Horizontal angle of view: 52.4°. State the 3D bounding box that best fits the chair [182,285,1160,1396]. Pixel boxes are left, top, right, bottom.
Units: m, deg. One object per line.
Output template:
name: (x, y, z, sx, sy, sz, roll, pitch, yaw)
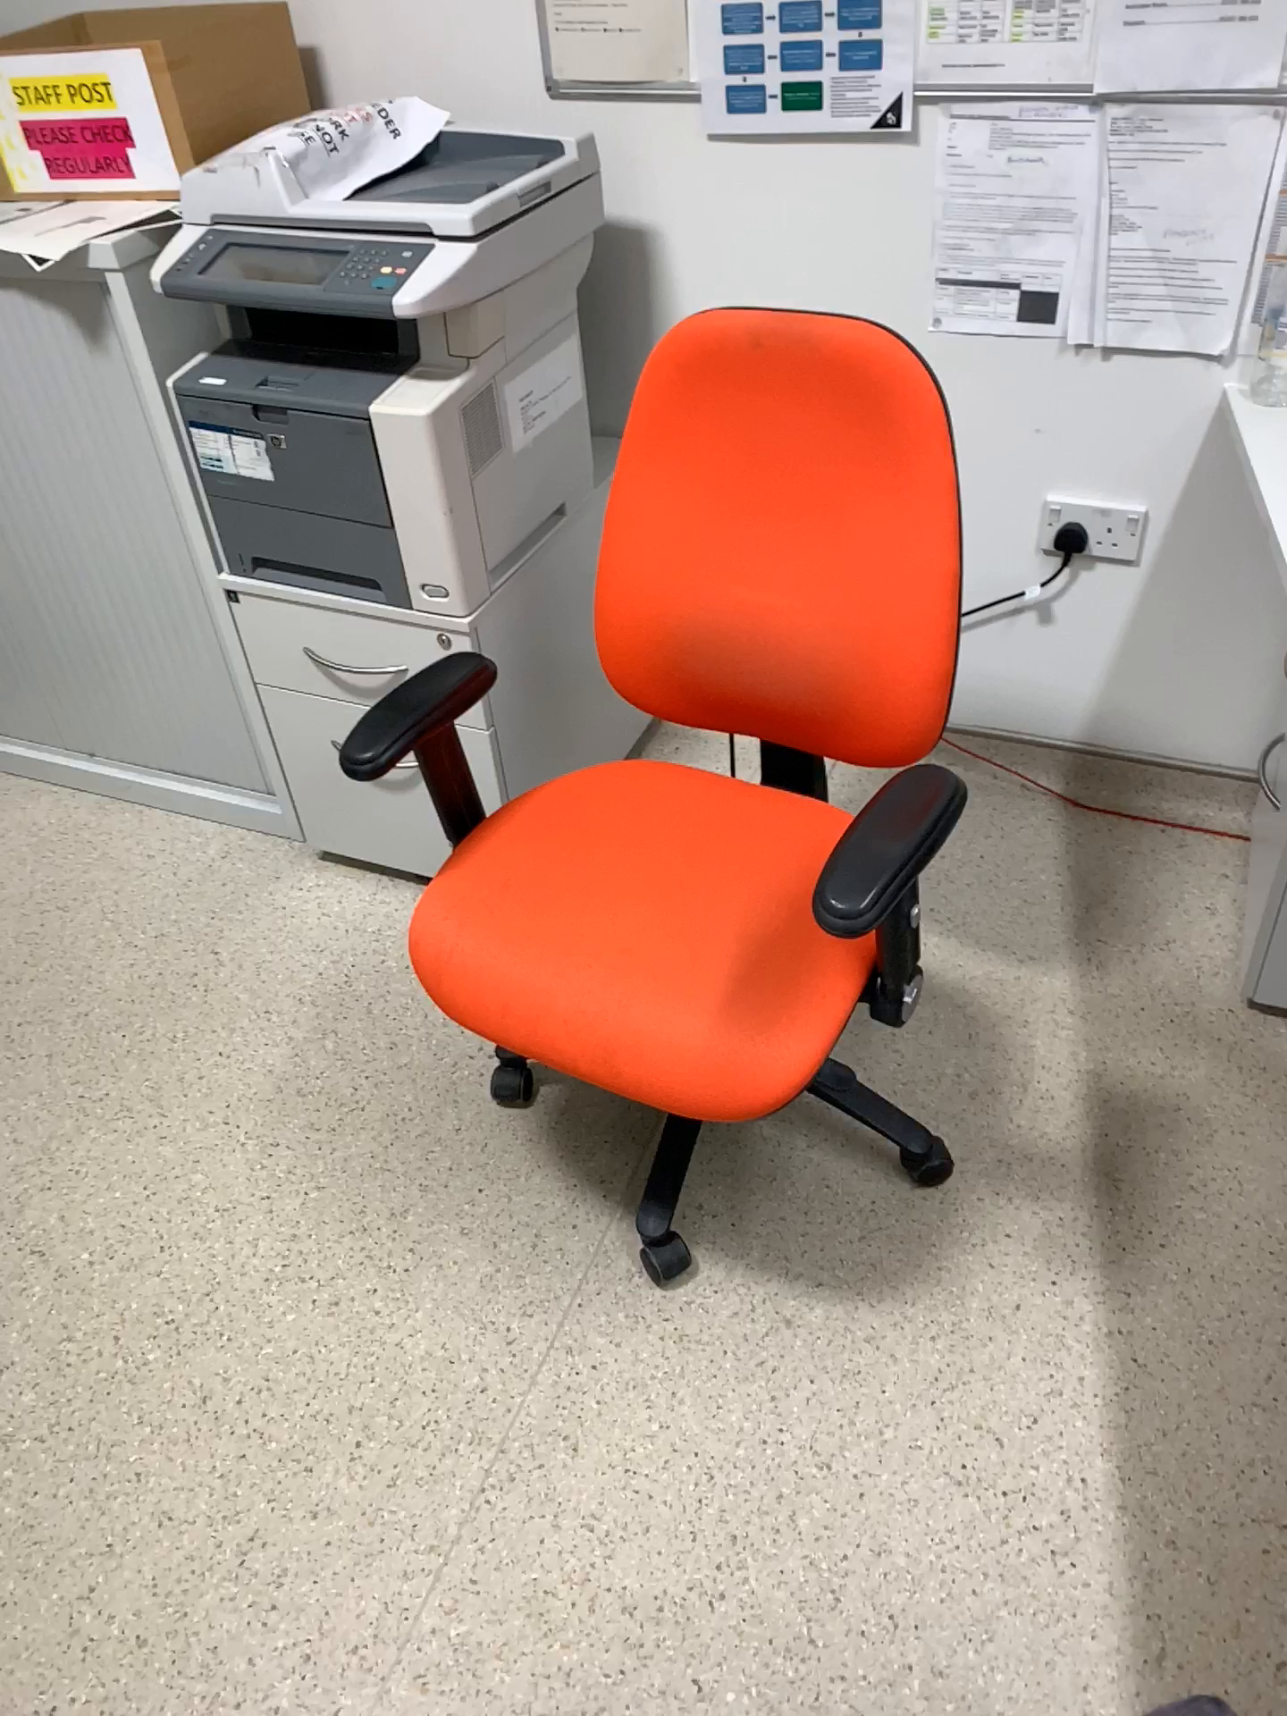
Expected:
chair: (0.086, -0.053, 1.494, 0.652, 0.893, 0.689, 18, 45, 26)
